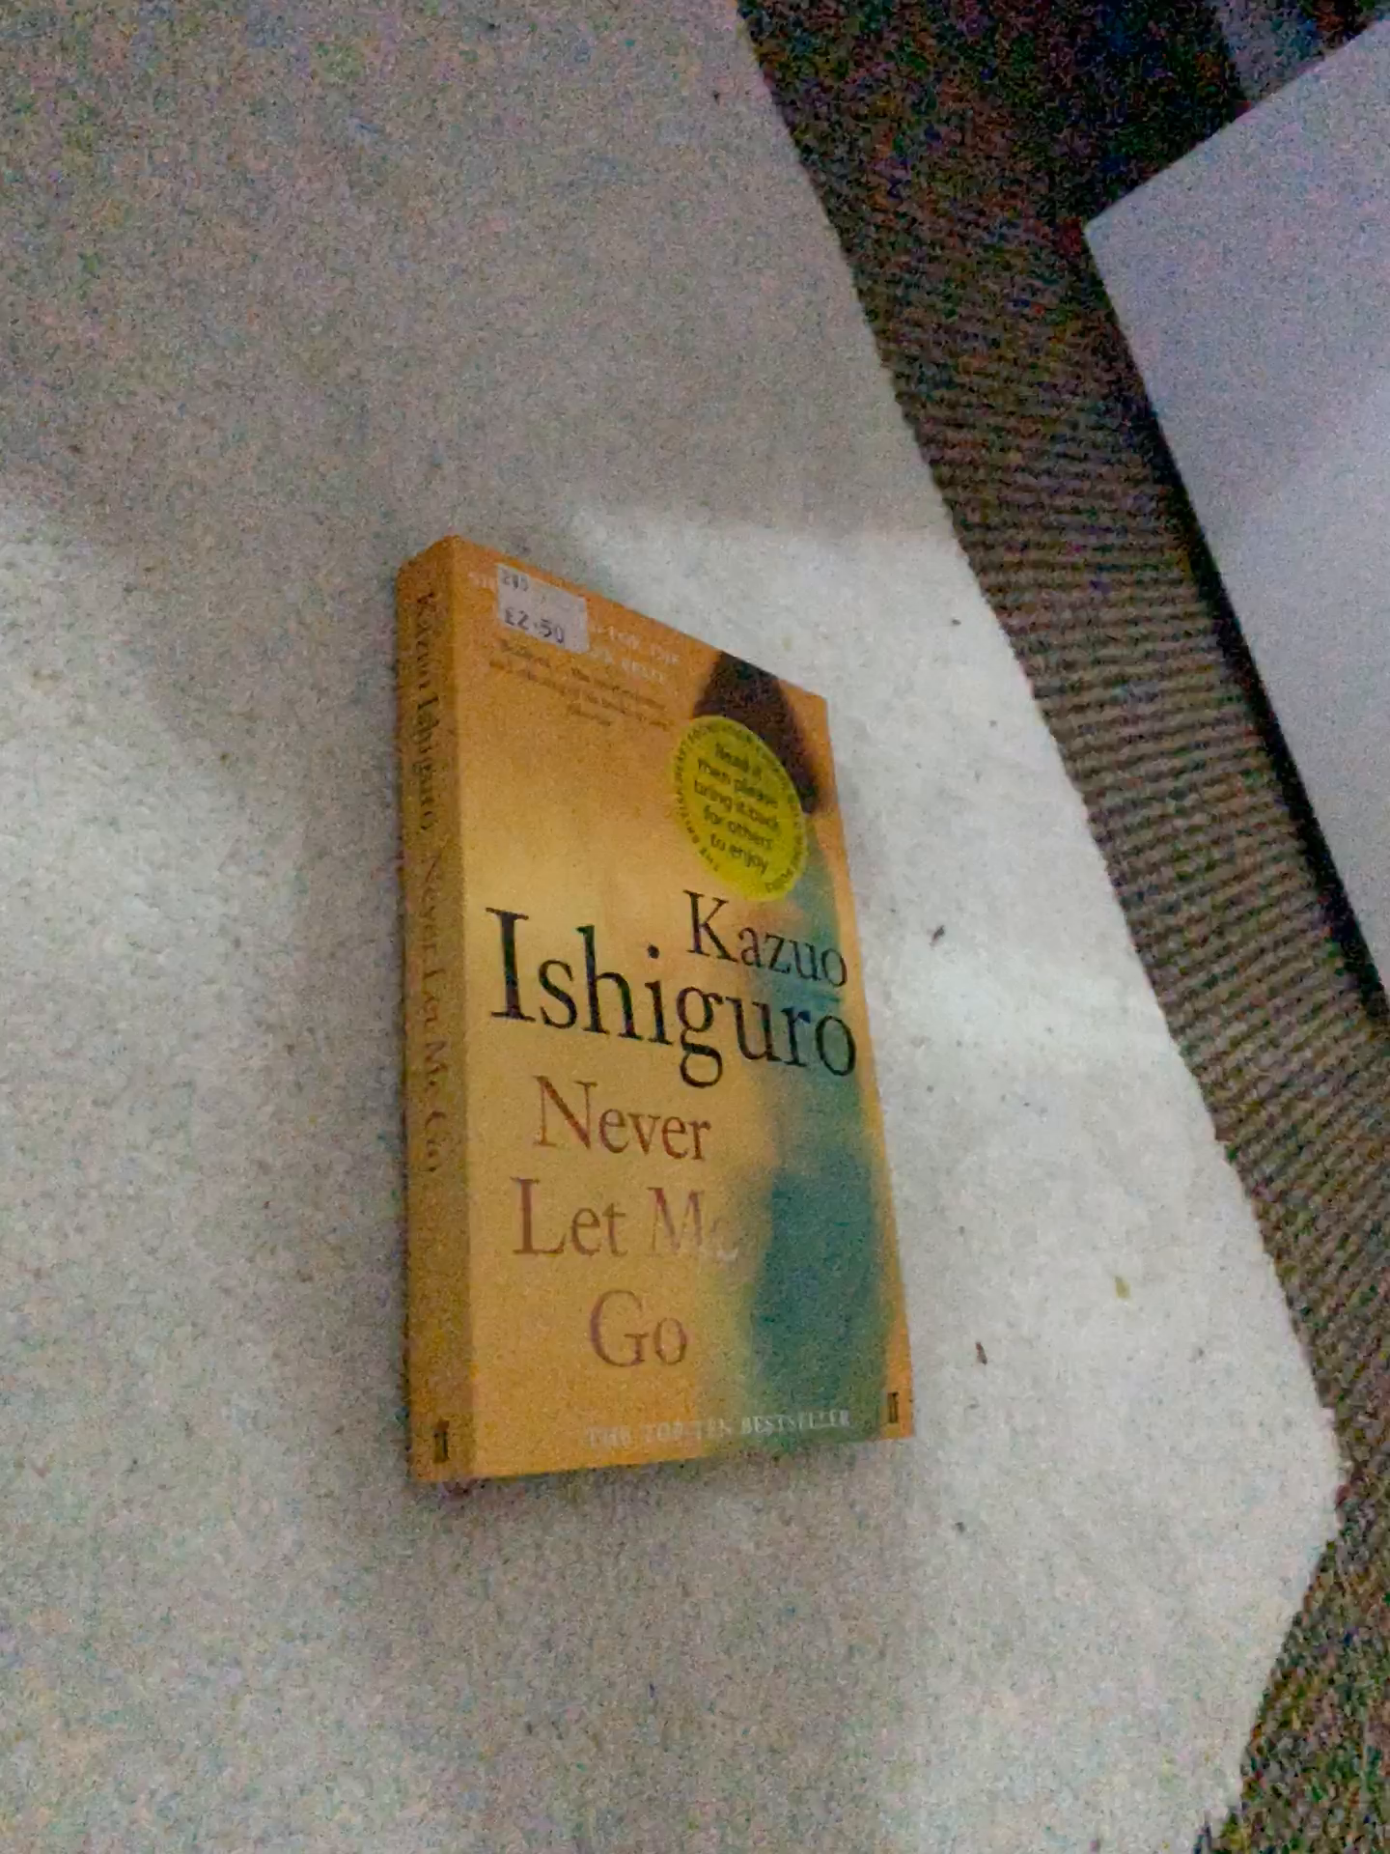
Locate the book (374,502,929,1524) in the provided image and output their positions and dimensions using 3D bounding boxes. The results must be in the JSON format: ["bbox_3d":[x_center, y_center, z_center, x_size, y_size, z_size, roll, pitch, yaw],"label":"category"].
[{"bbox_3d":[-0.008,0.020,0.337,0.141,0.020,0.211,15,63,-42],"label":"book"}]
